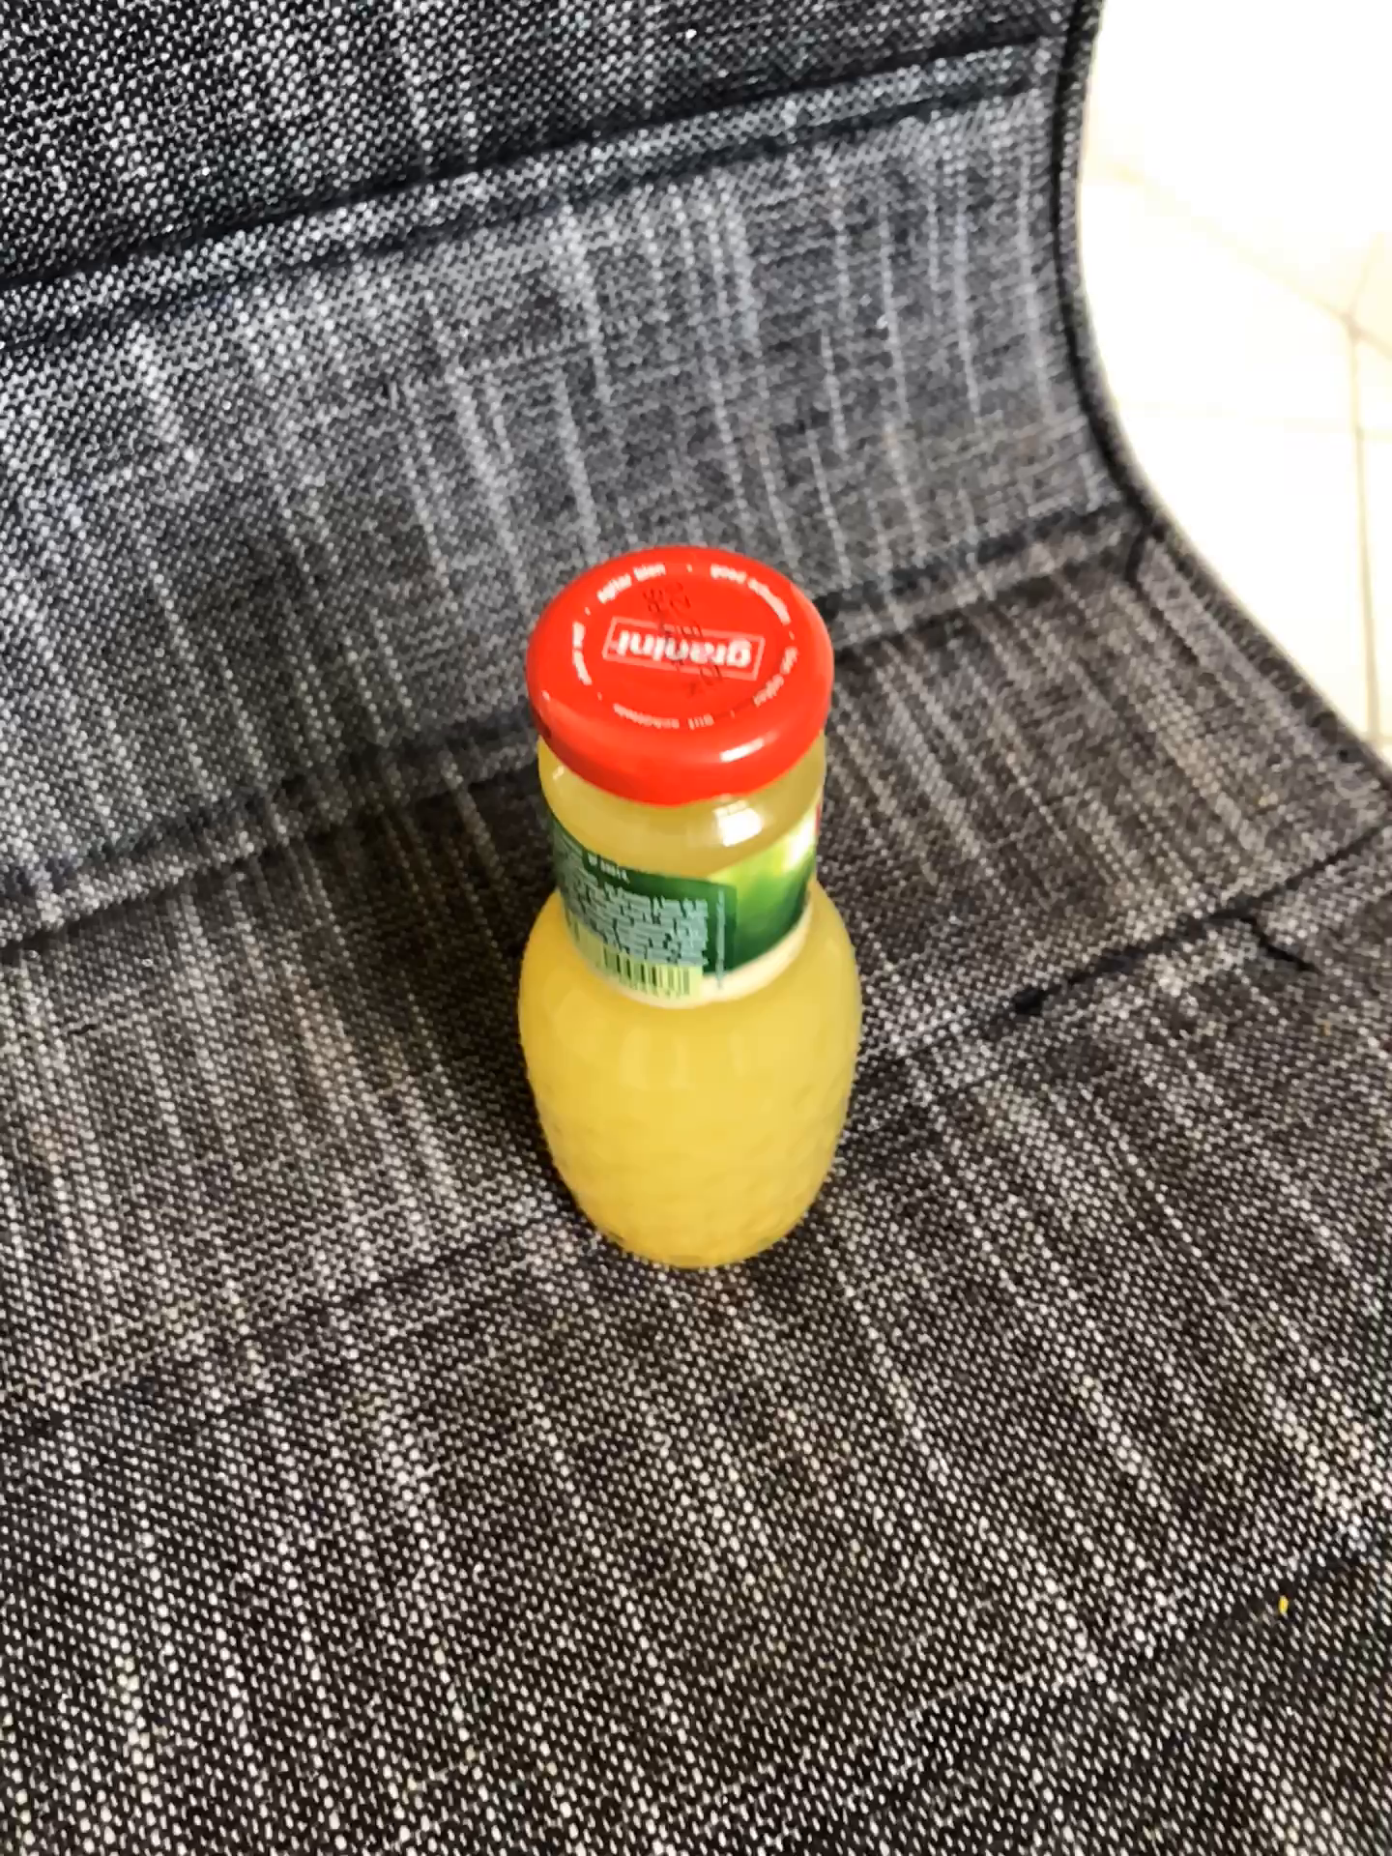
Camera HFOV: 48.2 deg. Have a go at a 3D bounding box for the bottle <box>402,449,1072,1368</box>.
[{"bbox_3d":[0.003,0.008,0.266,0.070,0.149,0.070,0,56,0],"label":"bottle"}]
